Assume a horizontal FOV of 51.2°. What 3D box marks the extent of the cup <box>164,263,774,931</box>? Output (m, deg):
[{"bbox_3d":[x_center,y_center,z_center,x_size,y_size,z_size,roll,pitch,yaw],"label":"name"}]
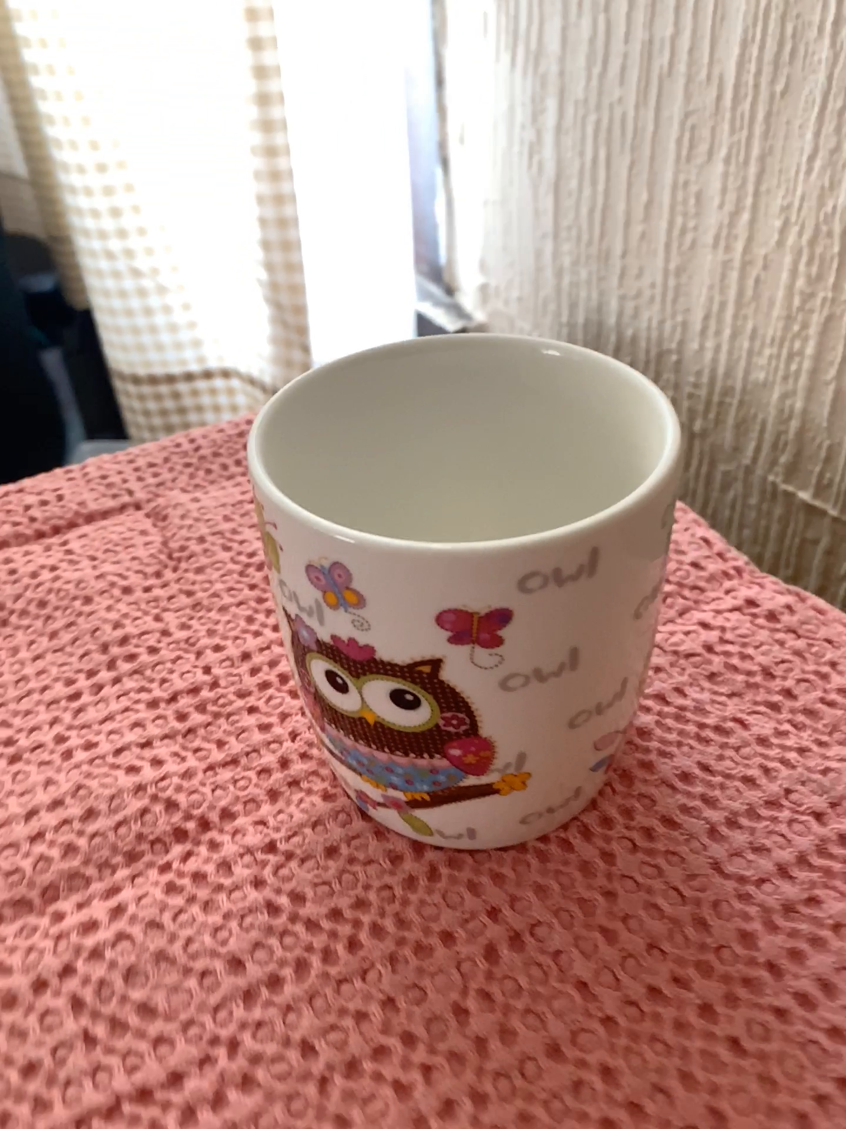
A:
[{"bbox_3d":[0.001,-0.003,0.218,0.090,0.089,0.121,-17,40,-15],"label":"cup"}]
